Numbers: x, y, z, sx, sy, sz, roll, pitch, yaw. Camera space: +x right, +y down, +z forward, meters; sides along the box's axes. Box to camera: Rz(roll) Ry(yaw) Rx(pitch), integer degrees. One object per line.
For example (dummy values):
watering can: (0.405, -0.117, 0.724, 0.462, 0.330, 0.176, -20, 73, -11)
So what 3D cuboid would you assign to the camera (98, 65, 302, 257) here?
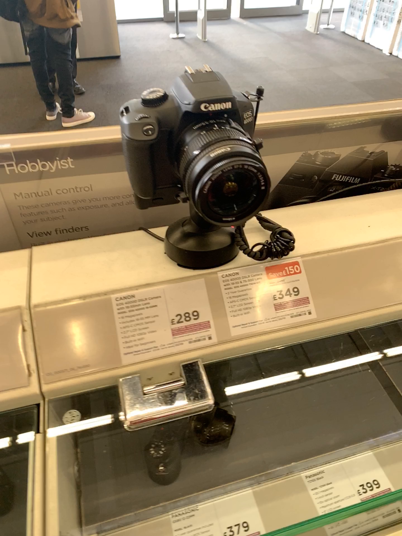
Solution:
camera: (-0.011, -0.101, 0.365, 0.140, 0.101, 0.137, -8, 43, -9)
